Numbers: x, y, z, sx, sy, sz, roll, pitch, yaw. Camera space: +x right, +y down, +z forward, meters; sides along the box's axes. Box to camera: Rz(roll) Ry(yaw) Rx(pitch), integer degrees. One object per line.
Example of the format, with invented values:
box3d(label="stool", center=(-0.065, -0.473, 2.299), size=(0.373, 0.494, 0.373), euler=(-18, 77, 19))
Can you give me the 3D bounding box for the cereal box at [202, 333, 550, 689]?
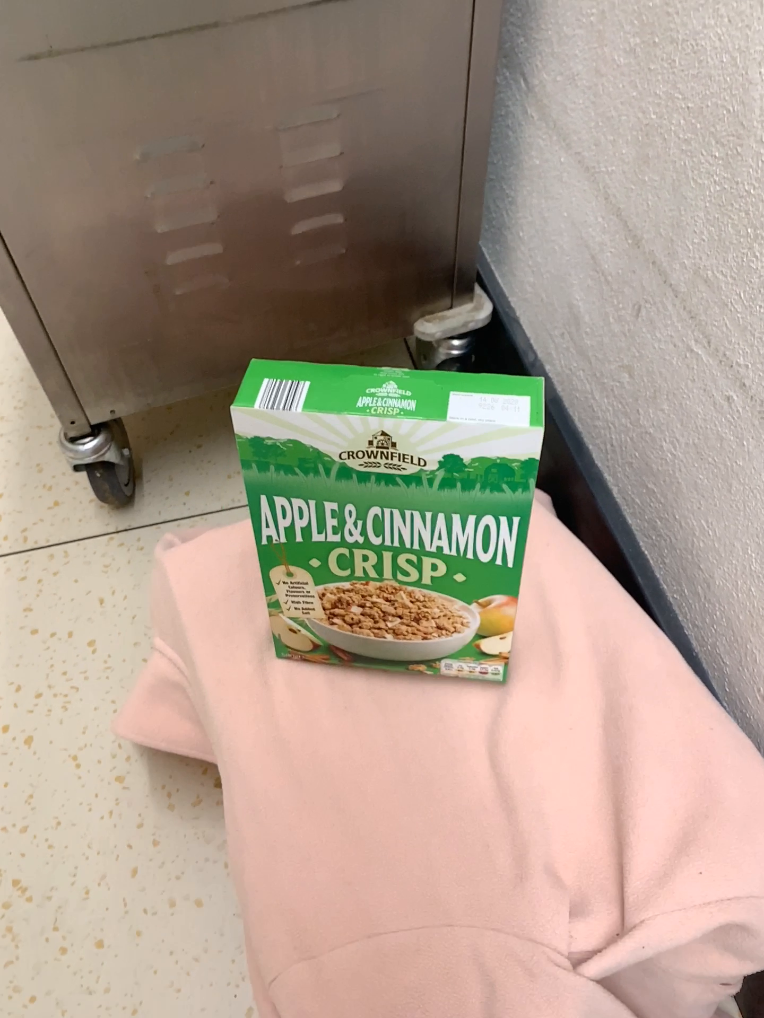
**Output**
box3d(label="cereal box", center=(0.001, 0.015, 0.535), size=(0.190, 0.258, 0.060), euler=(6, 45, 7))
